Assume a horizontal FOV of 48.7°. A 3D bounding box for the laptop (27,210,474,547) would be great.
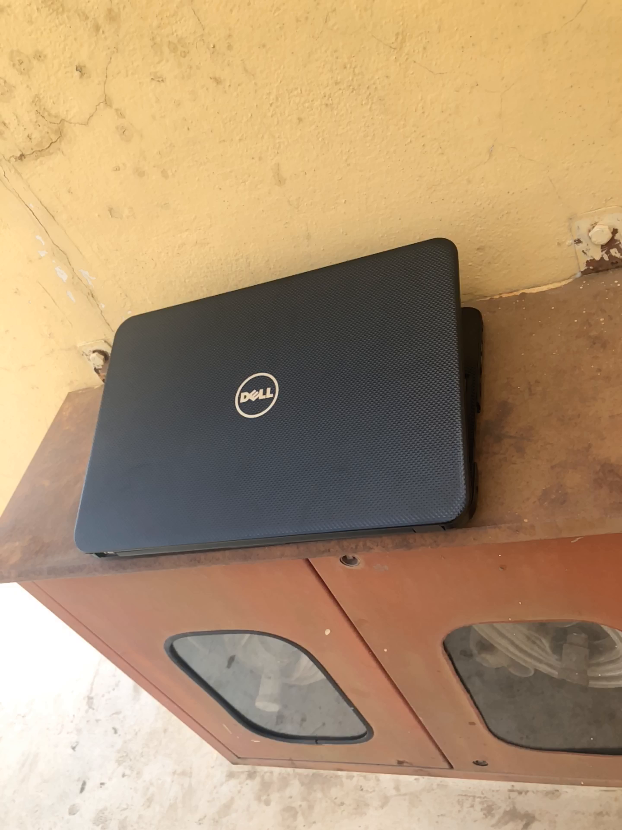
[{"bbox_3d":[-0.050,-0.017,0.580,0.352,0.098,0.184,-10,51,25],"label":"laptop"}]
